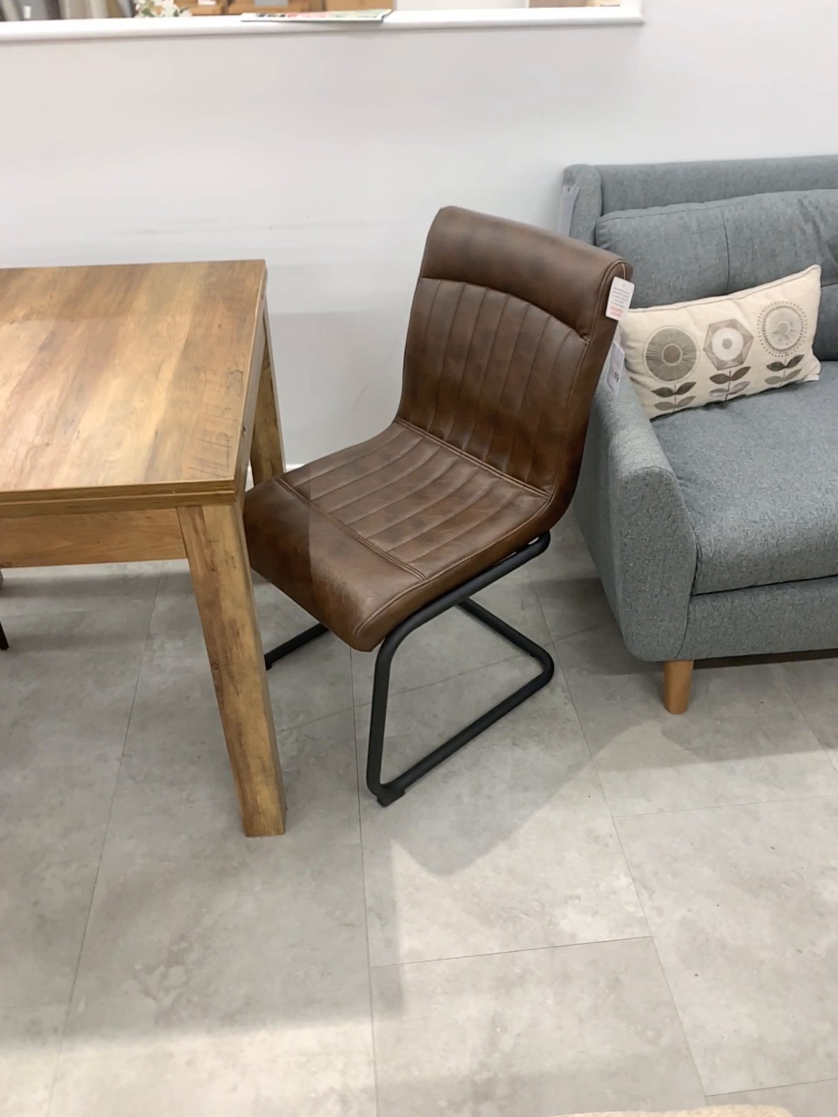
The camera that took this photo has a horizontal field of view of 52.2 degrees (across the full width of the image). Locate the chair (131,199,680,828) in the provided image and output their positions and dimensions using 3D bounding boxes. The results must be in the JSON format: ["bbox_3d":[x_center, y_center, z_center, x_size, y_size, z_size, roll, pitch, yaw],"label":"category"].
[{"bbox_3d":[-0.012,-0.108,1.486,0.634,0.773,0.501,-28,45,-31],"label":"chair"}]
